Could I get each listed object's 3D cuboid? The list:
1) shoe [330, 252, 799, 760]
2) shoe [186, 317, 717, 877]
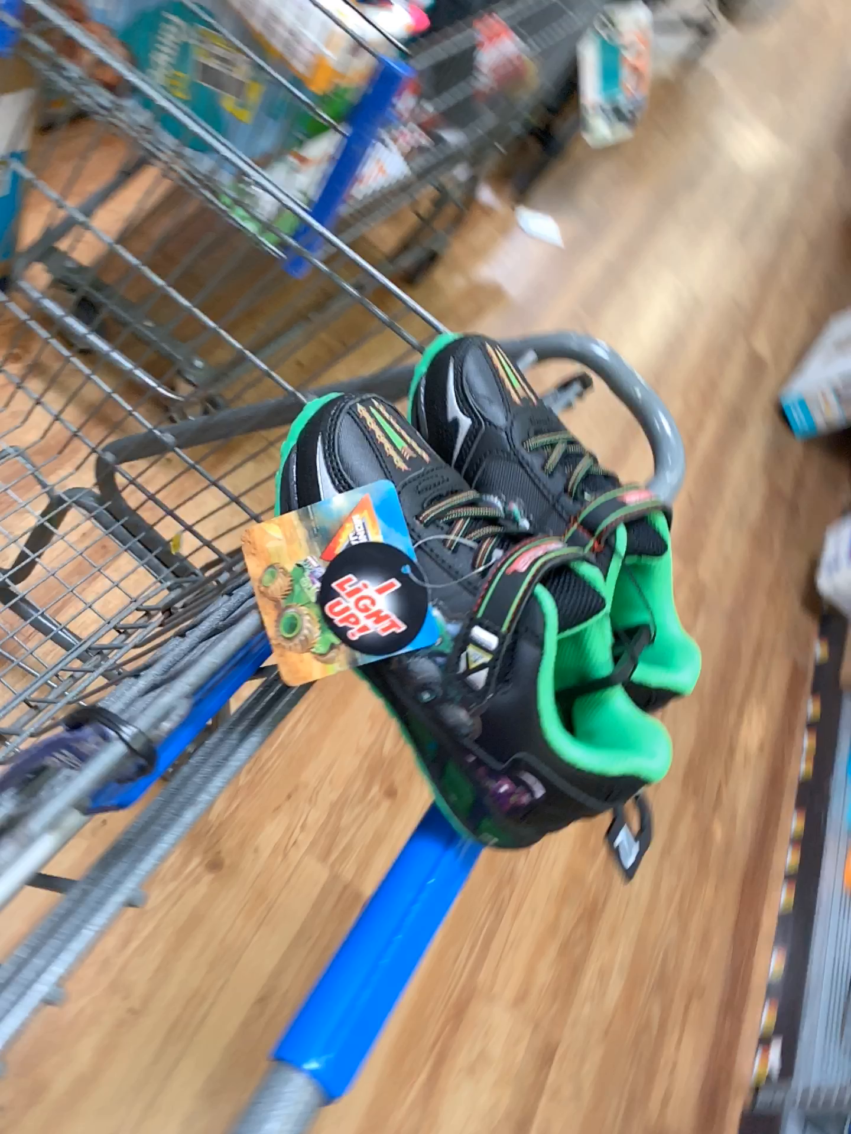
[{"bbox_3d":[0.060,-0.034,0.414,0.090,0.086,0.213,-23,76,-41],"label":"shoe"},{"bbox_3d":[0.007,0.010,0.366,0.095,0.093,0.194,-32,82,-42],"label":"shoe"}]
